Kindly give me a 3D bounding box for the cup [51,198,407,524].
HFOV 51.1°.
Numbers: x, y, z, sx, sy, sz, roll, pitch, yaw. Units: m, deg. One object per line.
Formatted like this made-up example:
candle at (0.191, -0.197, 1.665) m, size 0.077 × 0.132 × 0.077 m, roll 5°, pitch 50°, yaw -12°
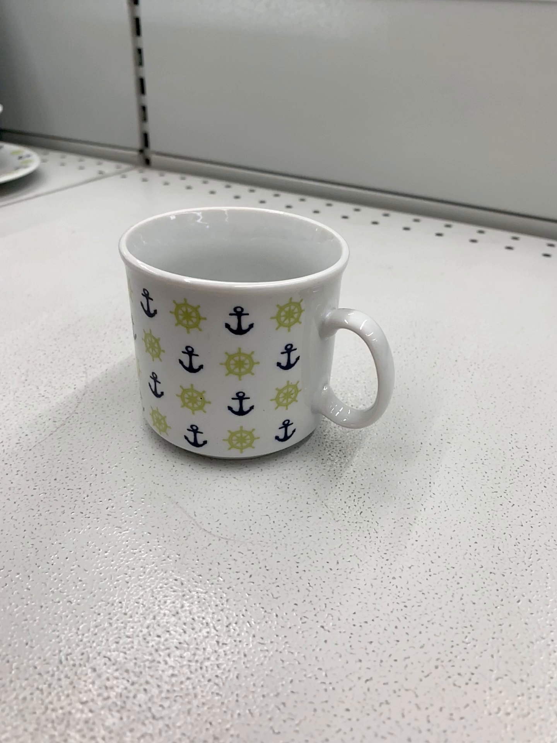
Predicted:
cup at (-0.010, -0.011, 0.209) m, size 0.096 × 0.076 × 0.078 m, roll 9°, pitch 30°, yaw 12°
